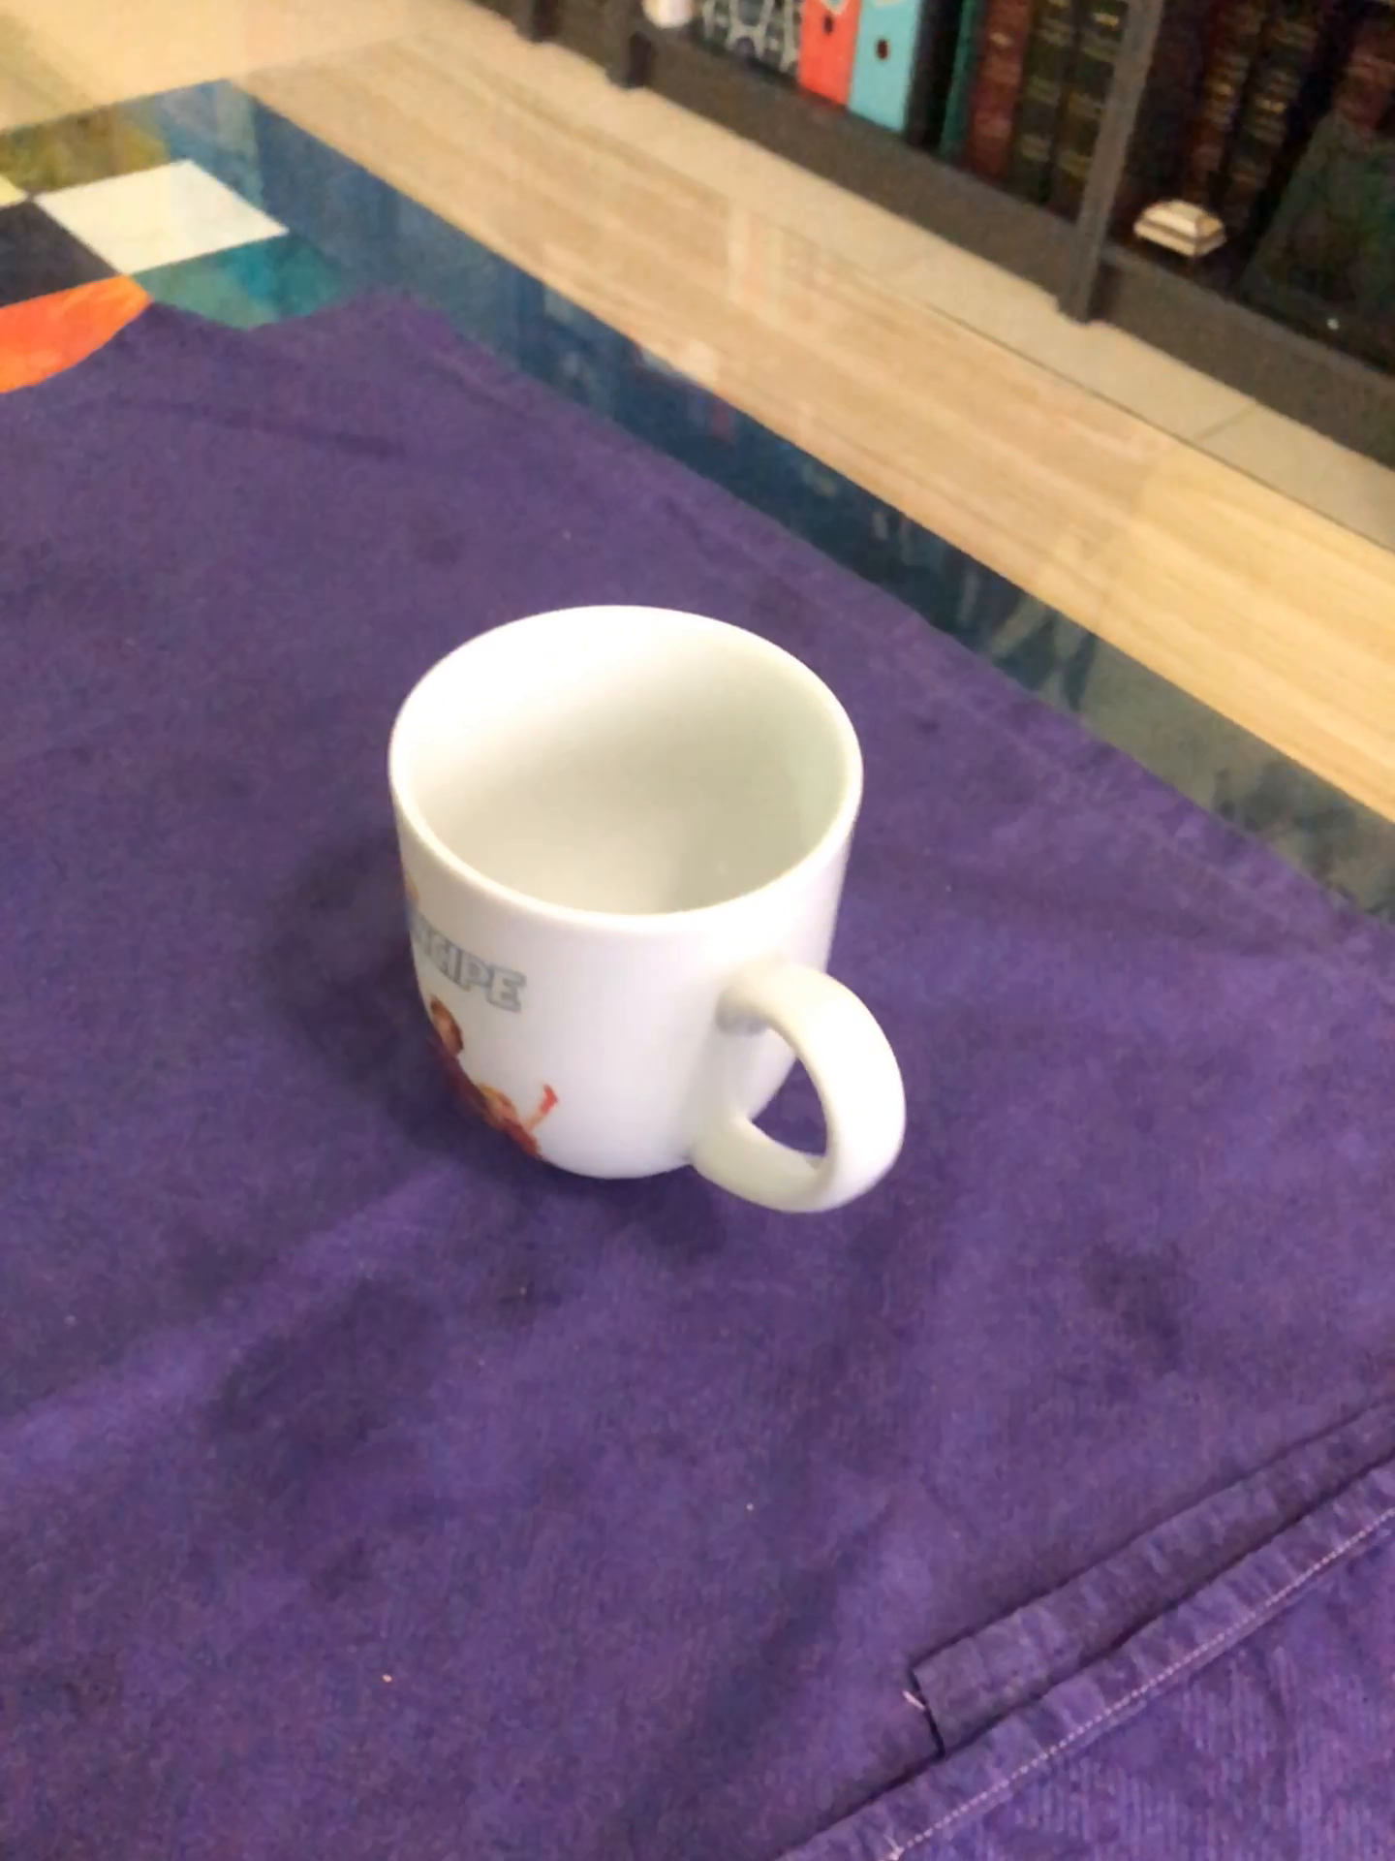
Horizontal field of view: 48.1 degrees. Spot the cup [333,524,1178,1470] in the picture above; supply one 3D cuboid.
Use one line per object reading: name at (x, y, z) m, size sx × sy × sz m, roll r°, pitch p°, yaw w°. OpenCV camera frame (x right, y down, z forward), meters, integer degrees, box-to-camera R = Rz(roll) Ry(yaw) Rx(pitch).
cup at (0.002, 0.007, 0.278) m, size 0.080 × 0.090 × 0.120 m, roll -23°, pitch 53°, yaw -23°
